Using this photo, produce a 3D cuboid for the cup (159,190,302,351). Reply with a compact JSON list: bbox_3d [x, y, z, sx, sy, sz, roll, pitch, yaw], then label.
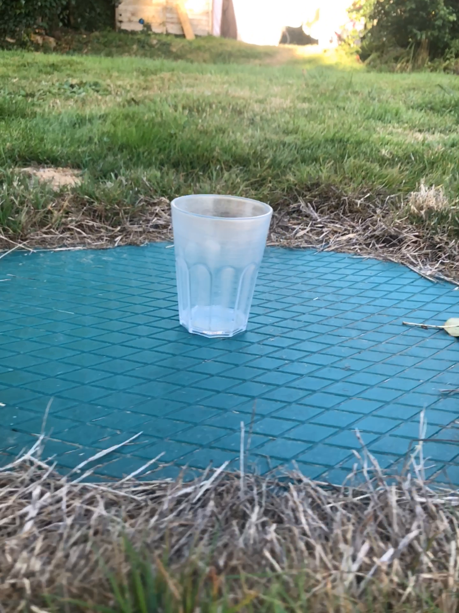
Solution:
[{"bbox_3d":[-0.004,-0.038,0.459,0.088,0.113,0.091,3,22,-1],"label":"cup"}]
